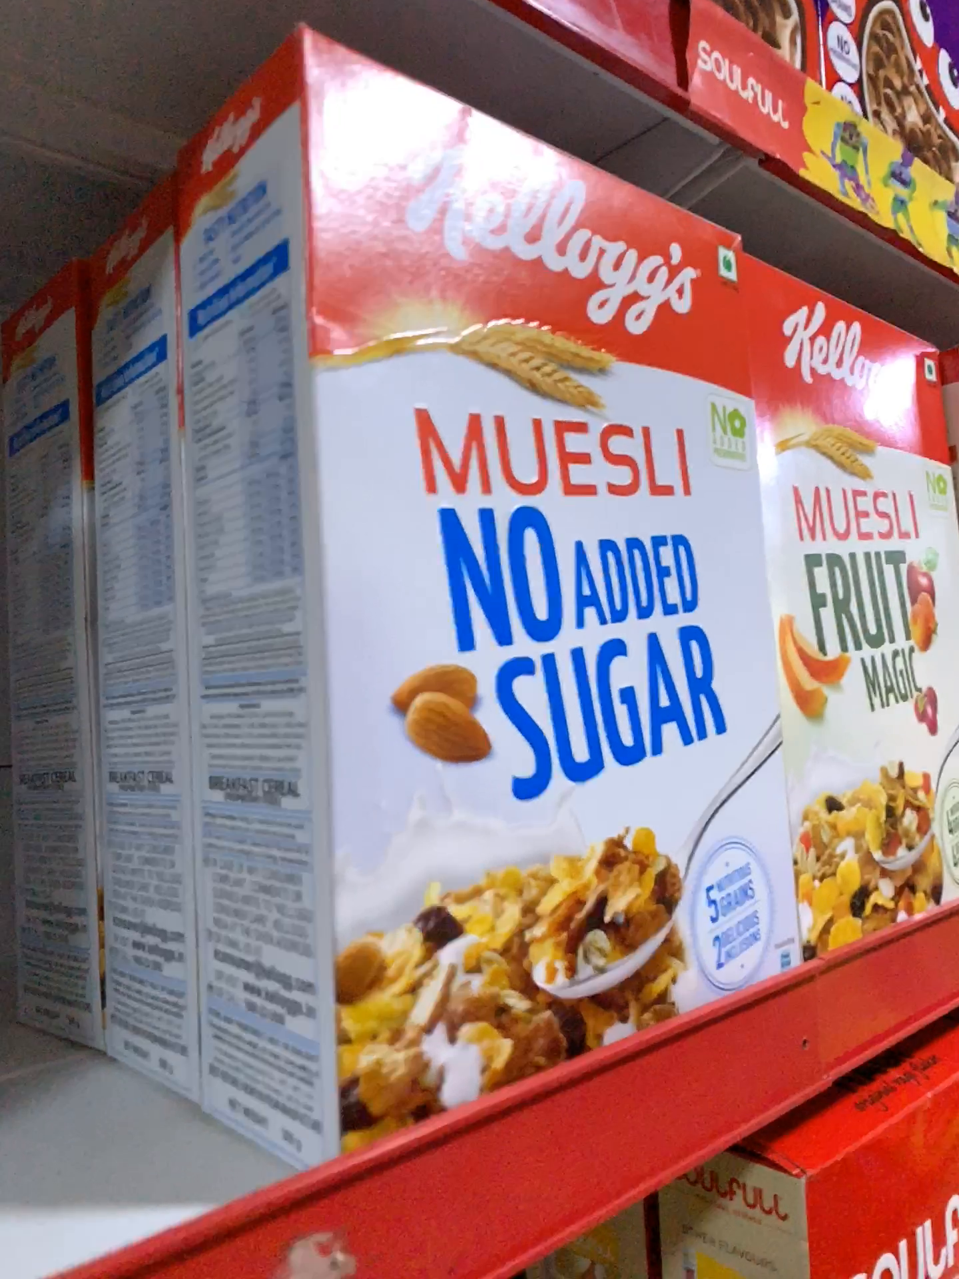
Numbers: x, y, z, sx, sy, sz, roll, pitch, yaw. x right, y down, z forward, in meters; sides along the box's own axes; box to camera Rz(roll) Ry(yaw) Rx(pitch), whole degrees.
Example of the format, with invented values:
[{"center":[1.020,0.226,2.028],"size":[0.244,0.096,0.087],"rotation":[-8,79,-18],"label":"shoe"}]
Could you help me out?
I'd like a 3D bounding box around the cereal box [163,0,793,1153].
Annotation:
[{"center":[0.010,-0.018,0.279],"size":[0.180,0.240,0.050],"rotation":[1,-6,-43],"label":"cereal box"}]
